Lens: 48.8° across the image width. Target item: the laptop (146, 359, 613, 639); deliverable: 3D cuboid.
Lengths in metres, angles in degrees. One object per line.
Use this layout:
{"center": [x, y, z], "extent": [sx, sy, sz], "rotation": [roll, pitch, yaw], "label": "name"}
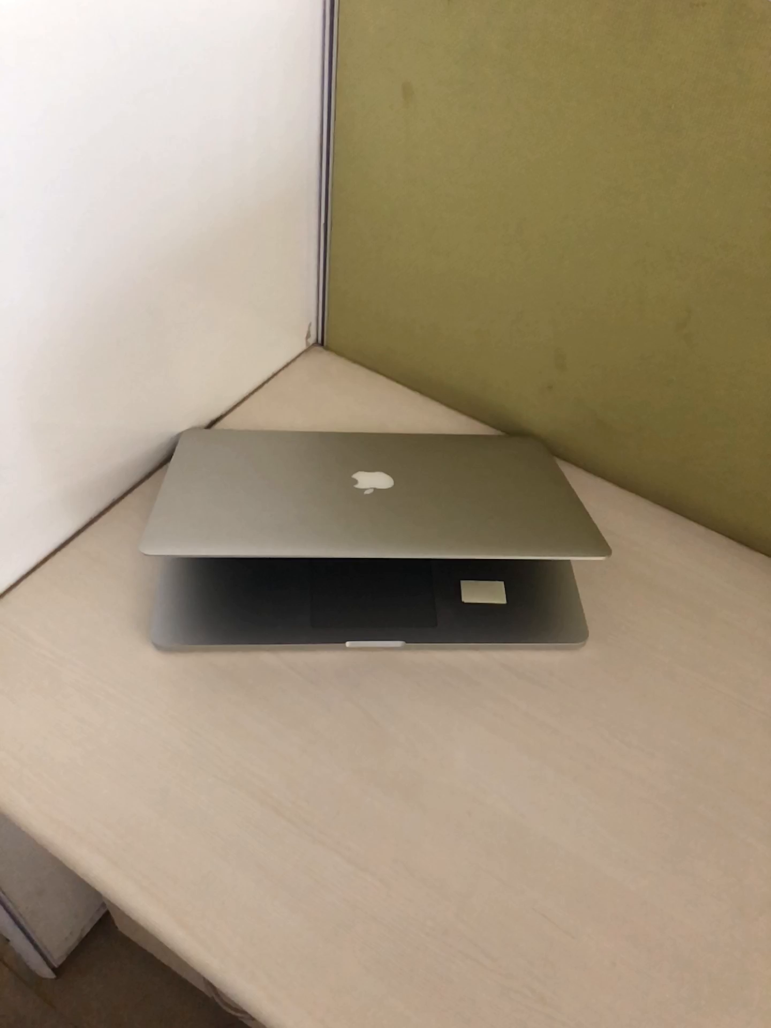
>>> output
{"center": [-0.010, -0.018, 0.731], "extent": [0.343, 0.083, 0.245], "rotation": [1, 48, -5], "label": "laptop"}
